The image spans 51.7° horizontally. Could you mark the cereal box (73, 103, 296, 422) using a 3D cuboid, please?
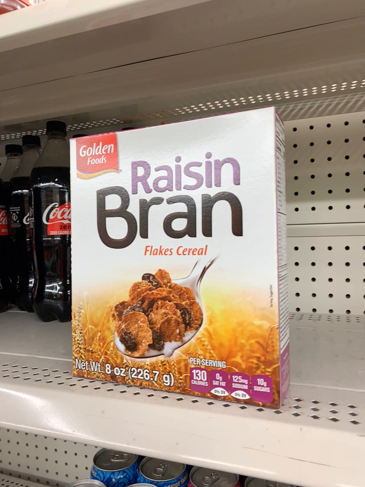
[{"bbox_3d":[-0.004,0.014,0.336,0.190,0.230,0.050,-1,0,25],"label":"cereal box"}]
